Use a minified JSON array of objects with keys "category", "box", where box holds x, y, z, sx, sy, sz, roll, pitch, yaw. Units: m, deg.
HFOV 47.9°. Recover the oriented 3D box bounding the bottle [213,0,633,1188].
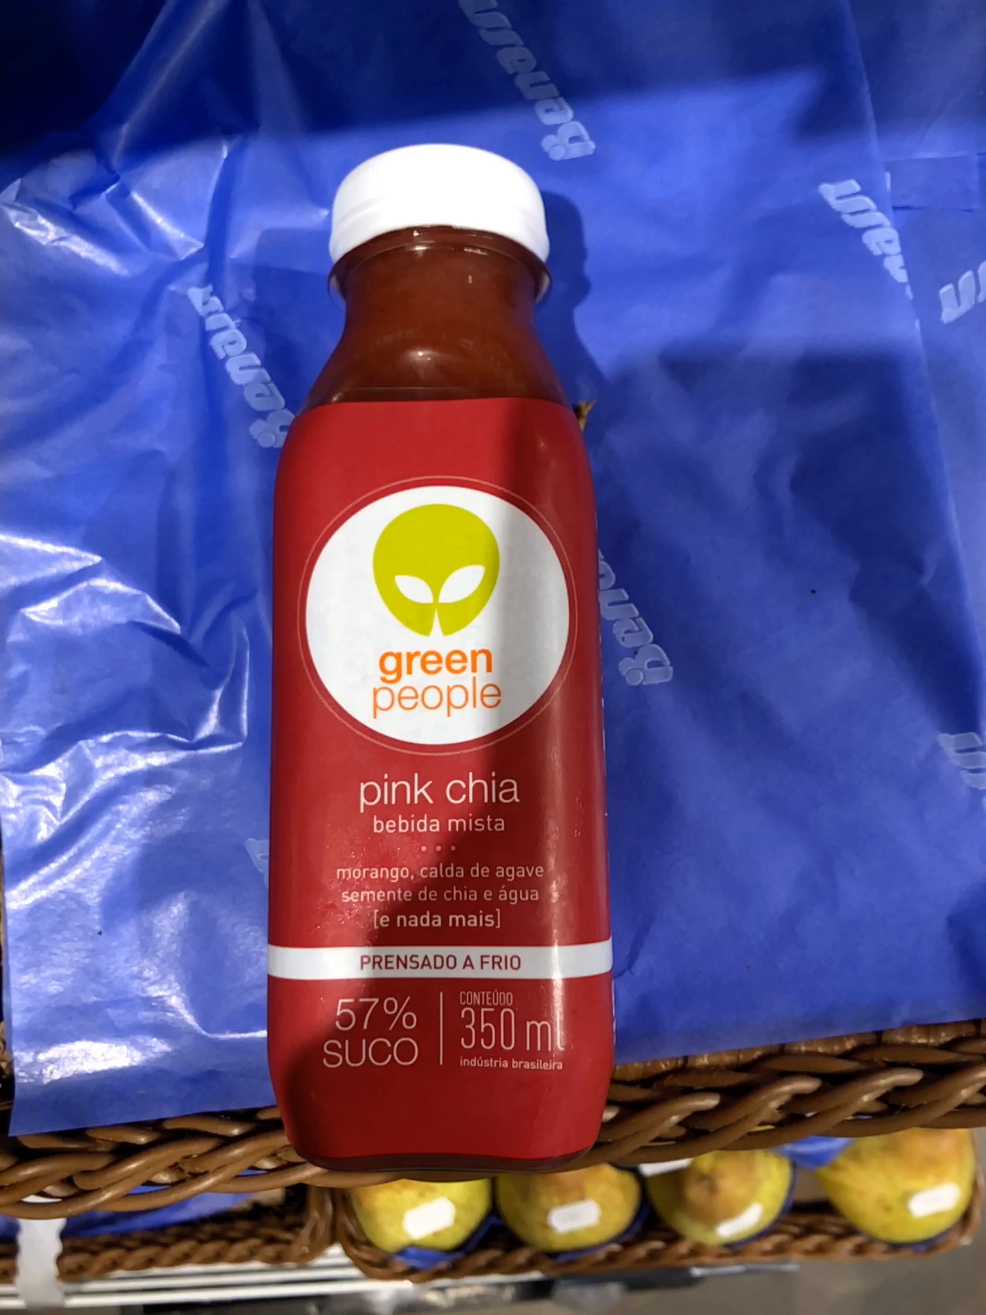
[{"category":"bottle","box":[-0.009,-0.014,0.202,0.060,0.060,0.190,-3,80,7]}]
